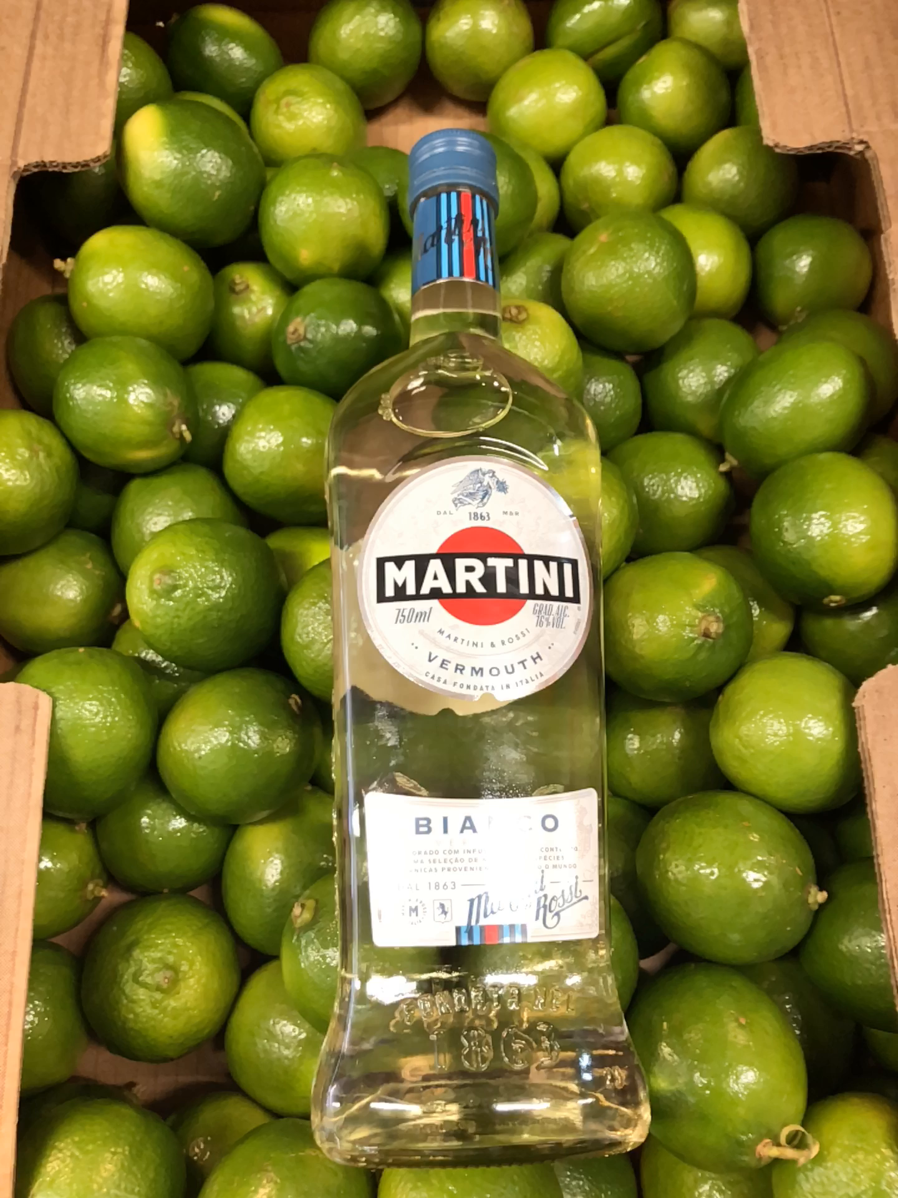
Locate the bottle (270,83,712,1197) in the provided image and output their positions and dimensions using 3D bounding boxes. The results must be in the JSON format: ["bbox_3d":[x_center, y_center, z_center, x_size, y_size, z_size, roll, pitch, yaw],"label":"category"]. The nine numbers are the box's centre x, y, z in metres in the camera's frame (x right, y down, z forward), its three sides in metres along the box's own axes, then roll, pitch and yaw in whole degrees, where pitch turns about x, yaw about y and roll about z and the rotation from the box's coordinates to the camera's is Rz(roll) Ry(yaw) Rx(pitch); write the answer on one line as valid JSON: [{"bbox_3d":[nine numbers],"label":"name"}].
[{"bbox_3d":[-0.001,-0.011,0.302,0.100,0.050,0.321,-2,71,-5],"label":"bottle"}]
